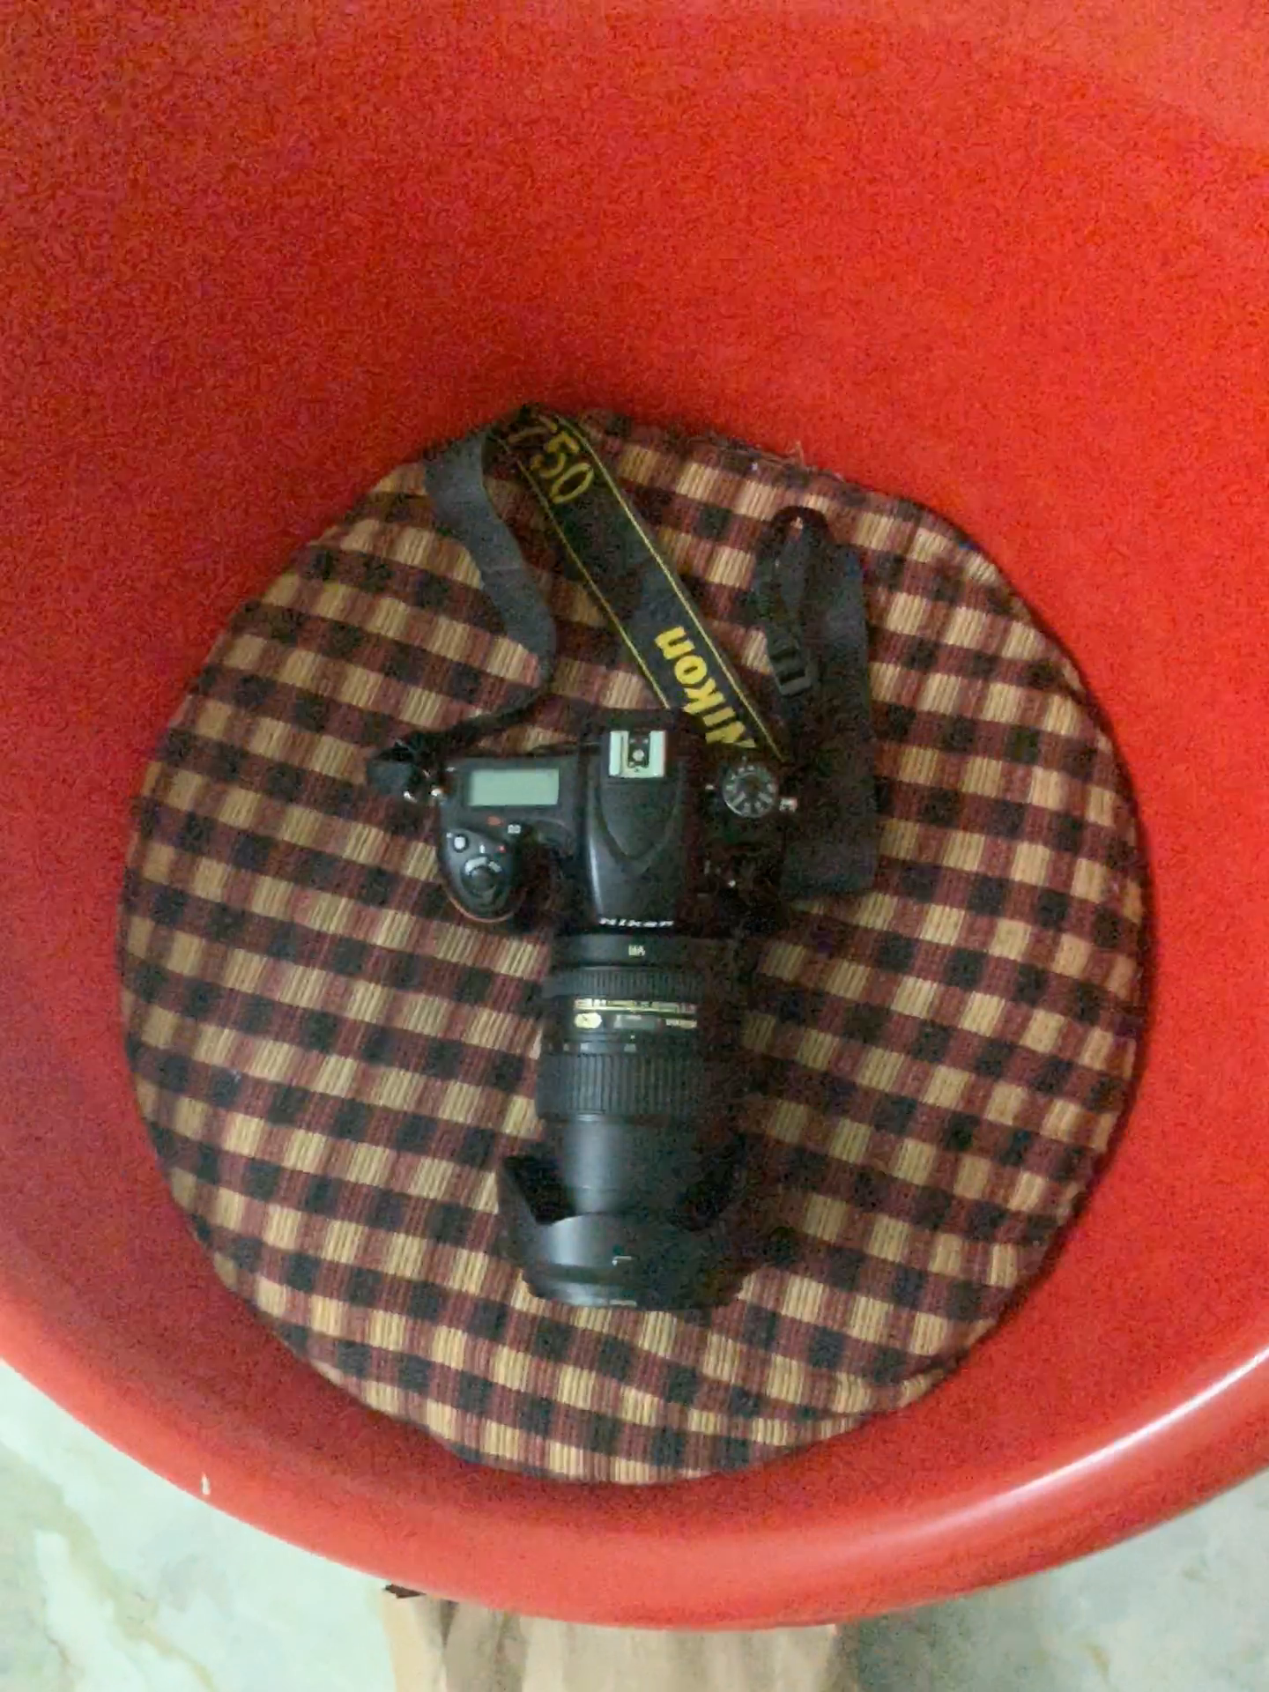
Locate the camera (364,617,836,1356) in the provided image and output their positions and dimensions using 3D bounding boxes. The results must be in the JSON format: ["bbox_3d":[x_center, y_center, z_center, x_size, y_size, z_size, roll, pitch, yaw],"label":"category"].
[{"bbox_3d":[-0.004,0.052,0.541,0.160,0.180,0.252,1,86,5],"label":"camera"}]
